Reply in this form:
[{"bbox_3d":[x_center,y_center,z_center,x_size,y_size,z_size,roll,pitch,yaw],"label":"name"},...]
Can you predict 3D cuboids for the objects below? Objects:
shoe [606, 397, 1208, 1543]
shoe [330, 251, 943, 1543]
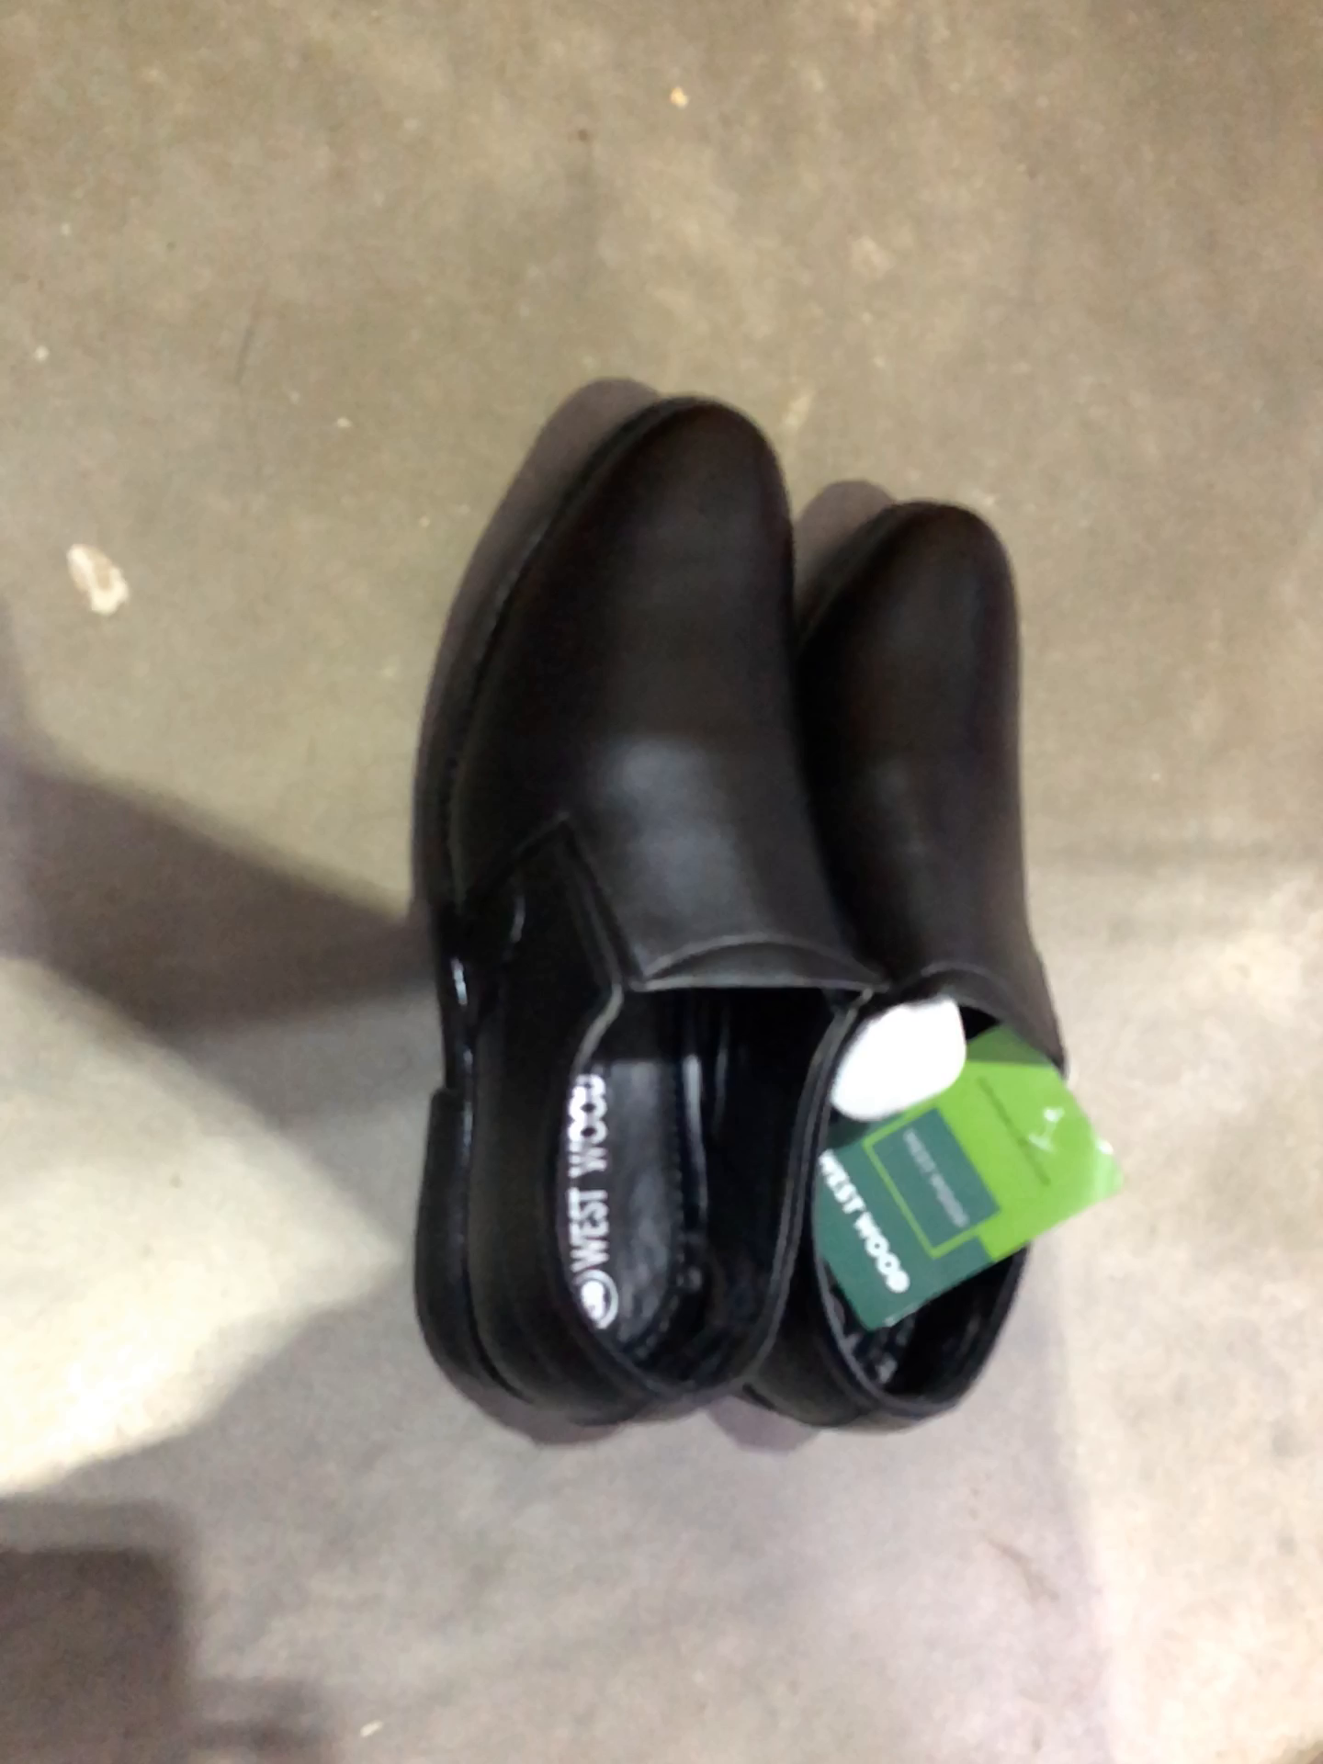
[{"bbox_3d":[0.074,0.027,0.434,0.100,0.090,0.300,14,82,-26],"label":"shoe"},{"bbox_3d":[-0.008,0.006,0.397,0.100,0.100,0.300,10,84,-26],"label":"shoe"}]
